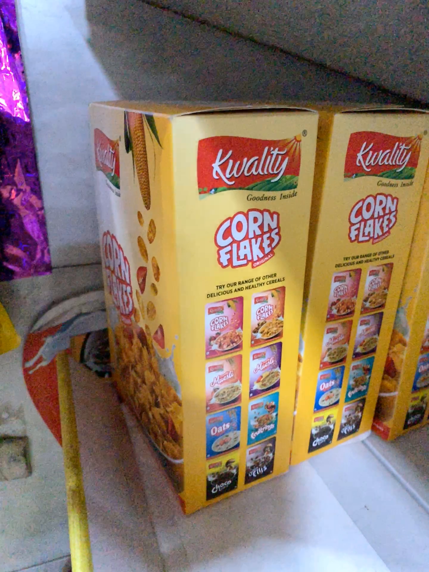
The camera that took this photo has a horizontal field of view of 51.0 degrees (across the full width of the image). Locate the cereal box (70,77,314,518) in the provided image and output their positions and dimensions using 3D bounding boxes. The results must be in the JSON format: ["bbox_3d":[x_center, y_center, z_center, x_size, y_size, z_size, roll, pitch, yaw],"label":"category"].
[{"bbox_3d":[-0.021,-0.006,0.229,0.060,0.179,0.121,-11,25,-26],"label":"cereal box"}]
